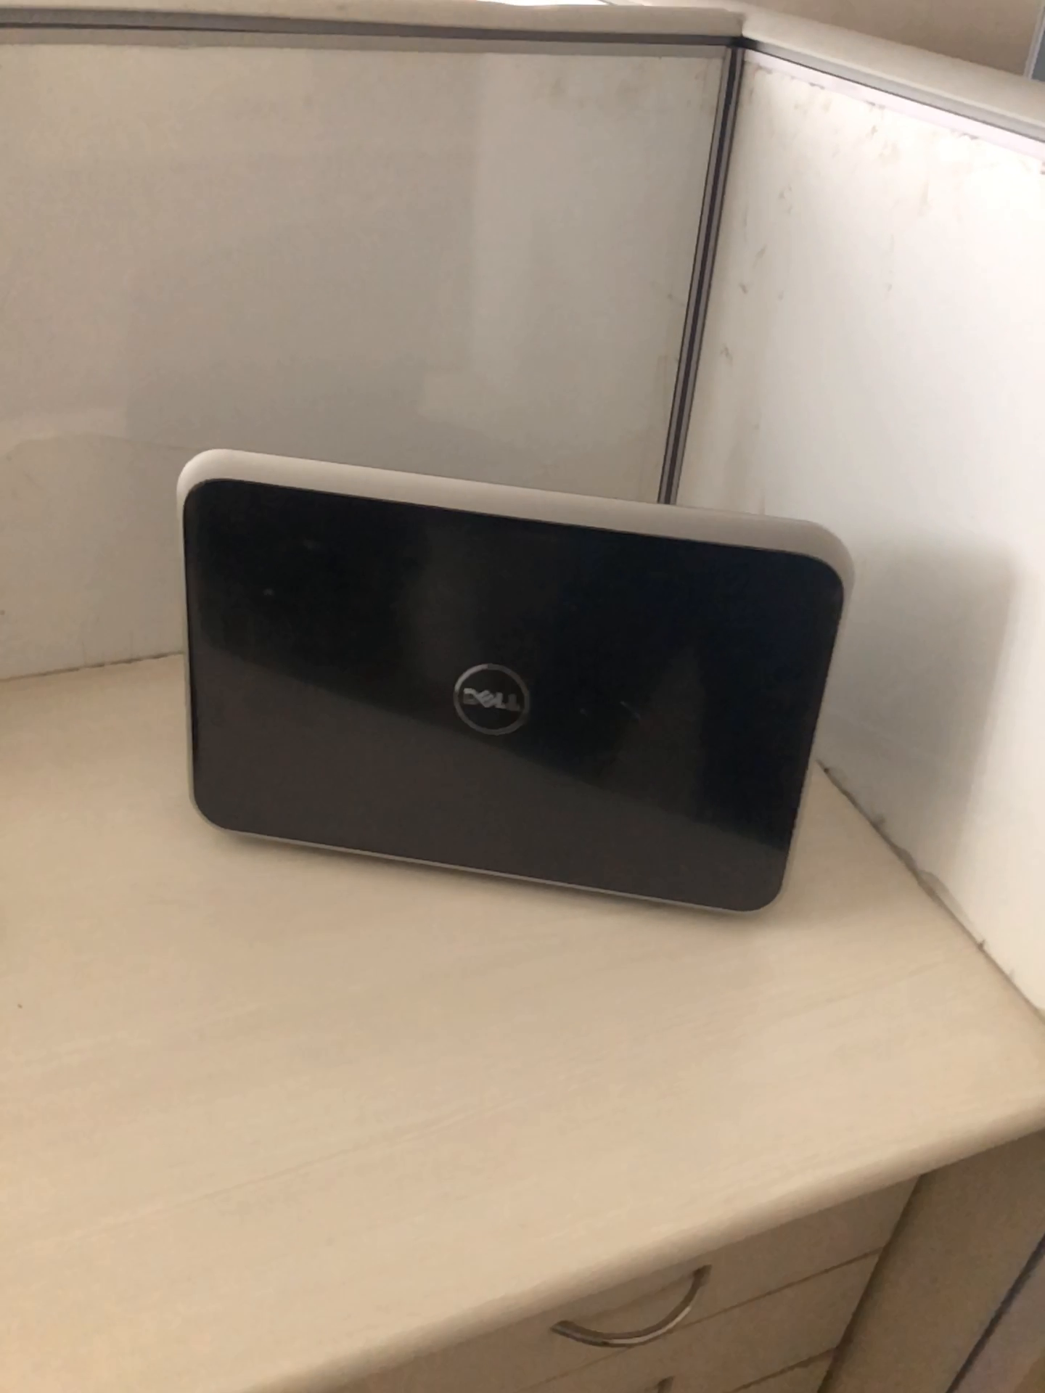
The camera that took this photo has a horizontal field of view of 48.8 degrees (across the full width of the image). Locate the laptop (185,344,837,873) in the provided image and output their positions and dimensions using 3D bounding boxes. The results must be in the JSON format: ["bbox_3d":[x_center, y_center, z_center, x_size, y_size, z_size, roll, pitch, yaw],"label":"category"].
[{"bbox_3d":[0.002,-0.067,0.746,0.333,0.217,0.240,9,34,3],"label":"laptop"}]
